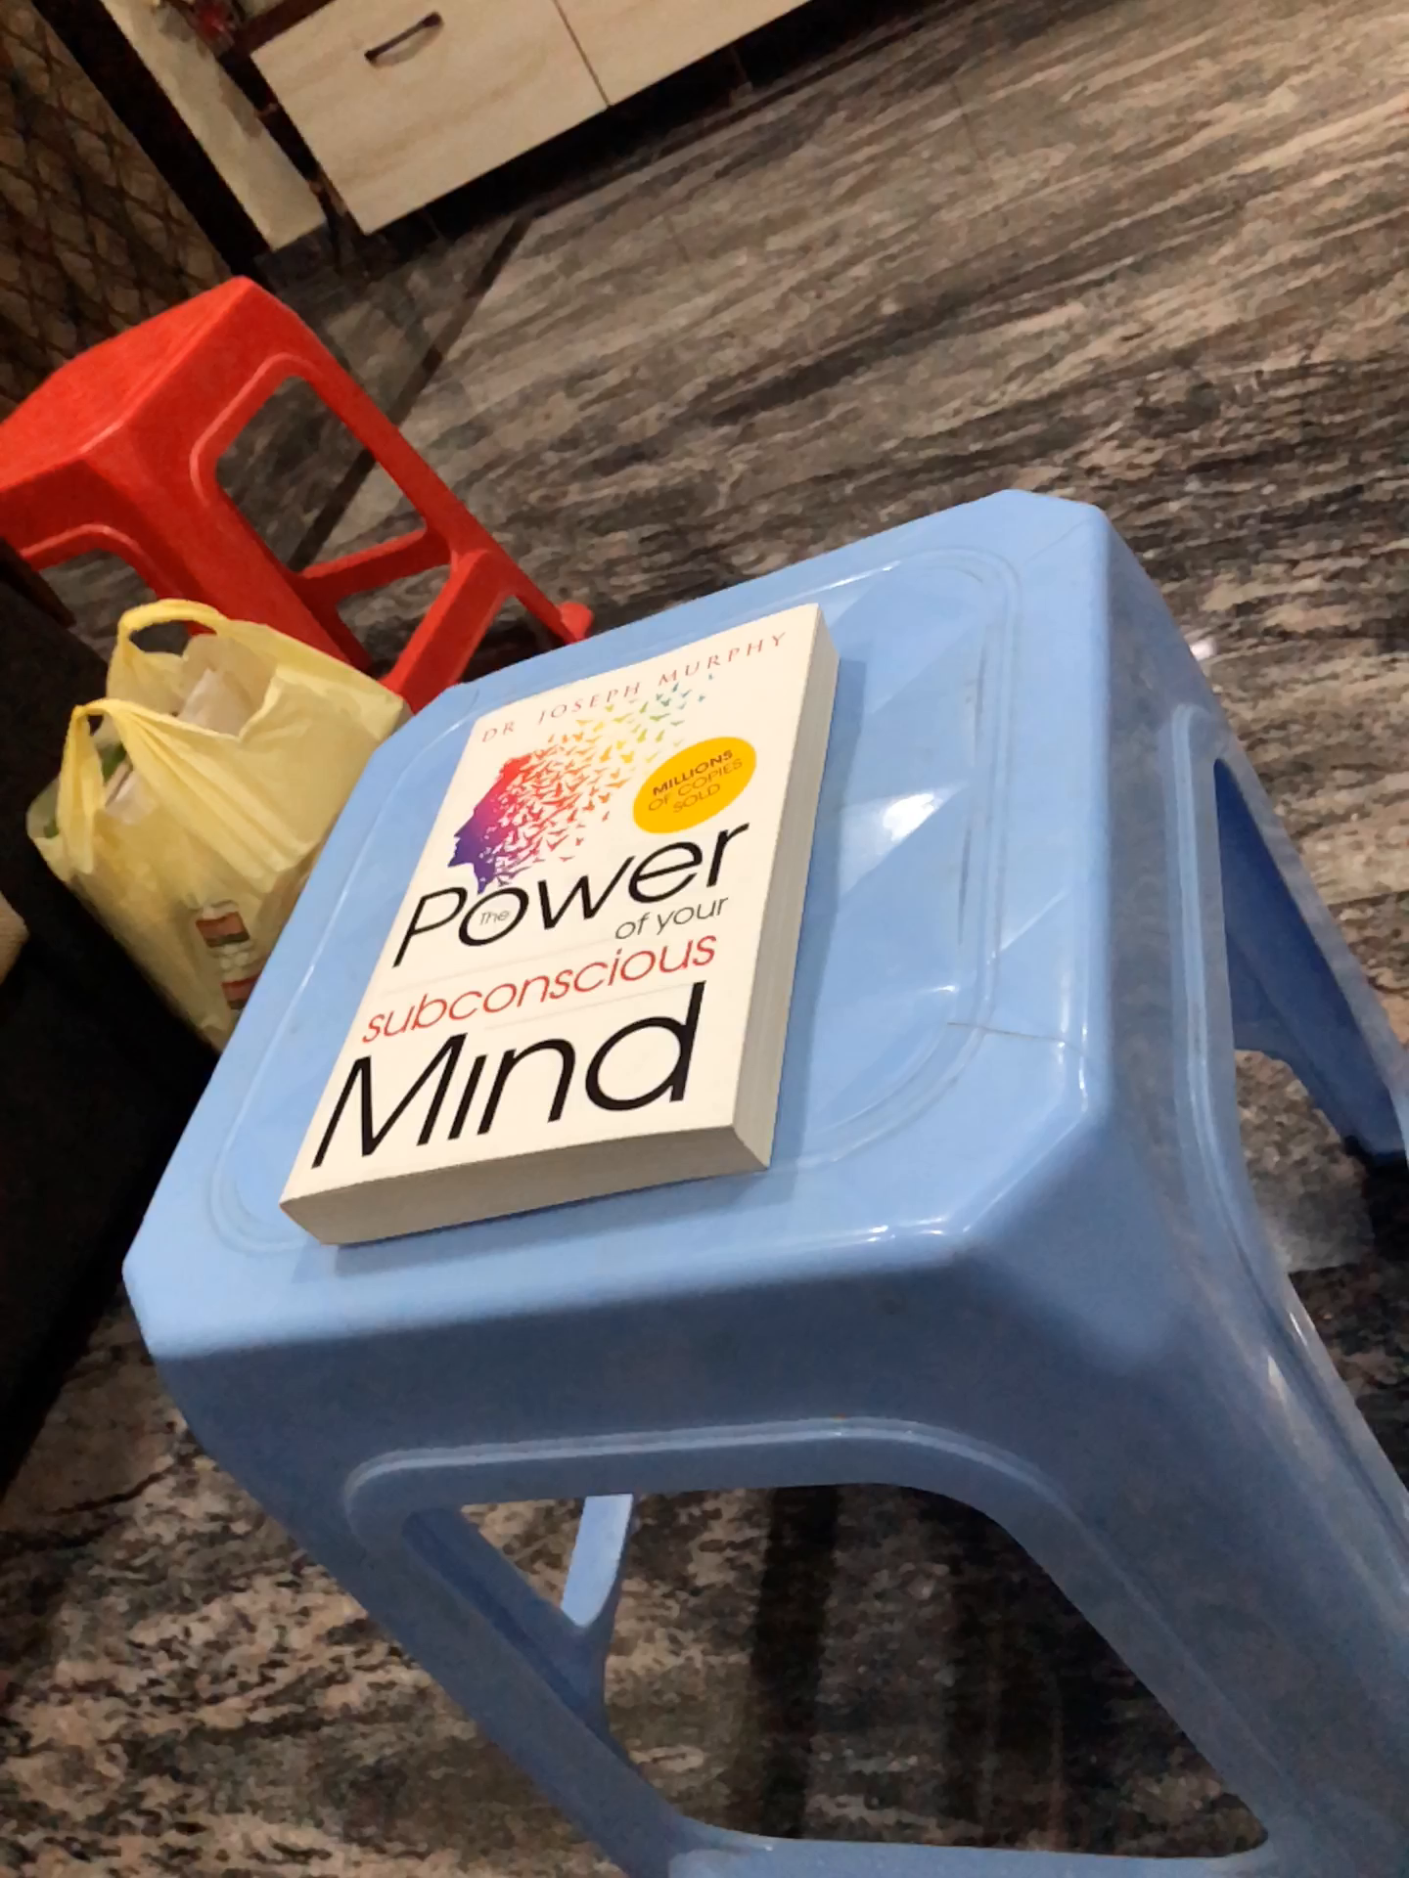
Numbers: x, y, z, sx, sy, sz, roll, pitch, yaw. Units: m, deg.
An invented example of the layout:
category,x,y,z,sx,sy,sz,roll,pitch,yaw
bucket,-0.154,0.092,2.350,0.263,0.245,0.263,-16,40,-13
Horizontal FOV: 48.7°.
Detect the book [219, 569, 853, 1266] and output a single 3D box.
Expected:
category,x,y,z,sx,sy,sz,roll,pitch,yaw
book,-0.037,-0.013,0.432,0.140,0.030,0.201,-15,40,25
